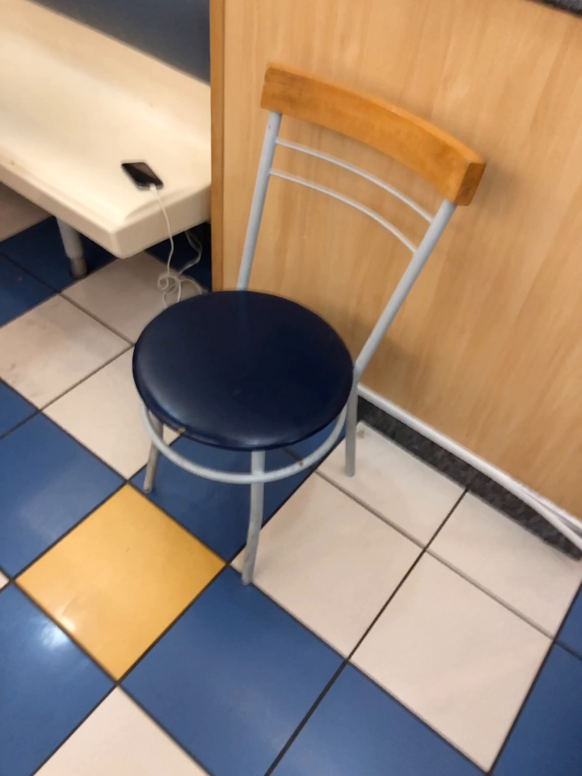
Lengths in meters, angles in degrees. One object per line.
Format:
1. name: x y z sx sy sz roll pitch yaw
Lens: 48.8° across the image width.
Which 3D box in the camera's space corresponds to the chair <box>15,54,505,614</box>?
1. chair: -0.049 -0.075 1.161 0.441 0.745 0.522 34 54 22
